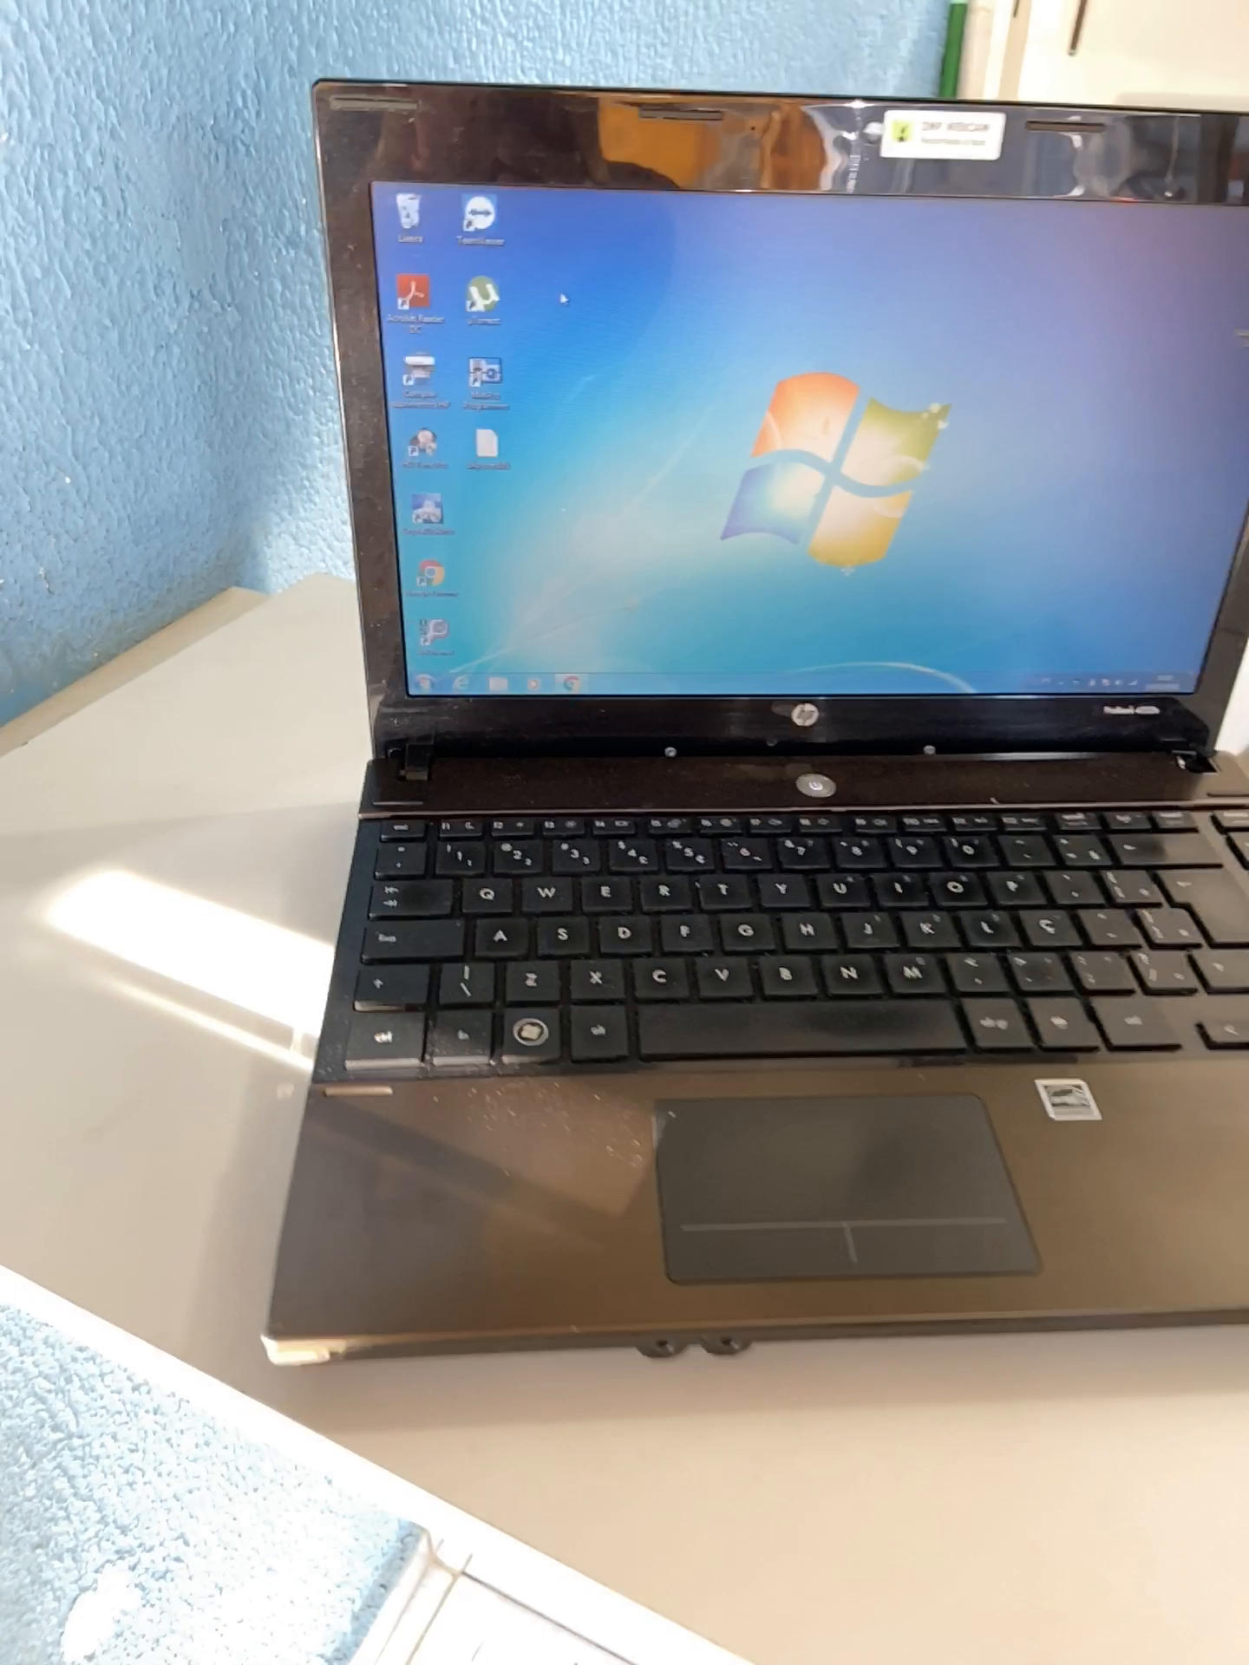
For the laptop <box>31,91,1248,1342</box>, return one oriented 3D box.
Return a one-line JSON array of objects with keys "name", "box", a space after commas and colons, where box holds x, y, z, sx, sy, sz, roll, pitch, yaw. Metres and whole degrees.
[{"name": "laptop", "box": [0.077, -0.054, 0.337, 0.321, 0.207, 0.260, -1, 36, -2]}]
